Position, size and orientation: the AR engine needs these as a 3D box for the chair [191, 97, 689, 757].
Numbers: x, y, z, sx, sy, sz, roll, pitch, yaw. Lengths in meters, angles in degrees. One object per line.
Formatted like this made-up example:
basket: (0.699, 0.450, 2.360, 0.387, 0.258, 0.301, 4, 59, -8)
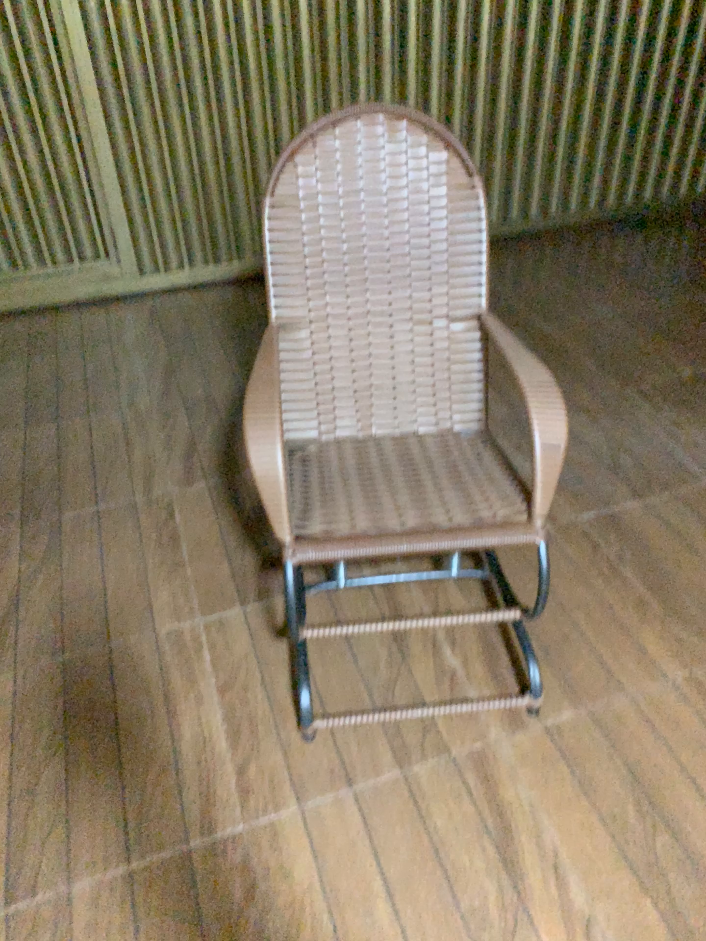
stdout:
chair: (0.087, -0.095, 1.487, 0.598, 1.050, 0.787, -4, 37, -3)
